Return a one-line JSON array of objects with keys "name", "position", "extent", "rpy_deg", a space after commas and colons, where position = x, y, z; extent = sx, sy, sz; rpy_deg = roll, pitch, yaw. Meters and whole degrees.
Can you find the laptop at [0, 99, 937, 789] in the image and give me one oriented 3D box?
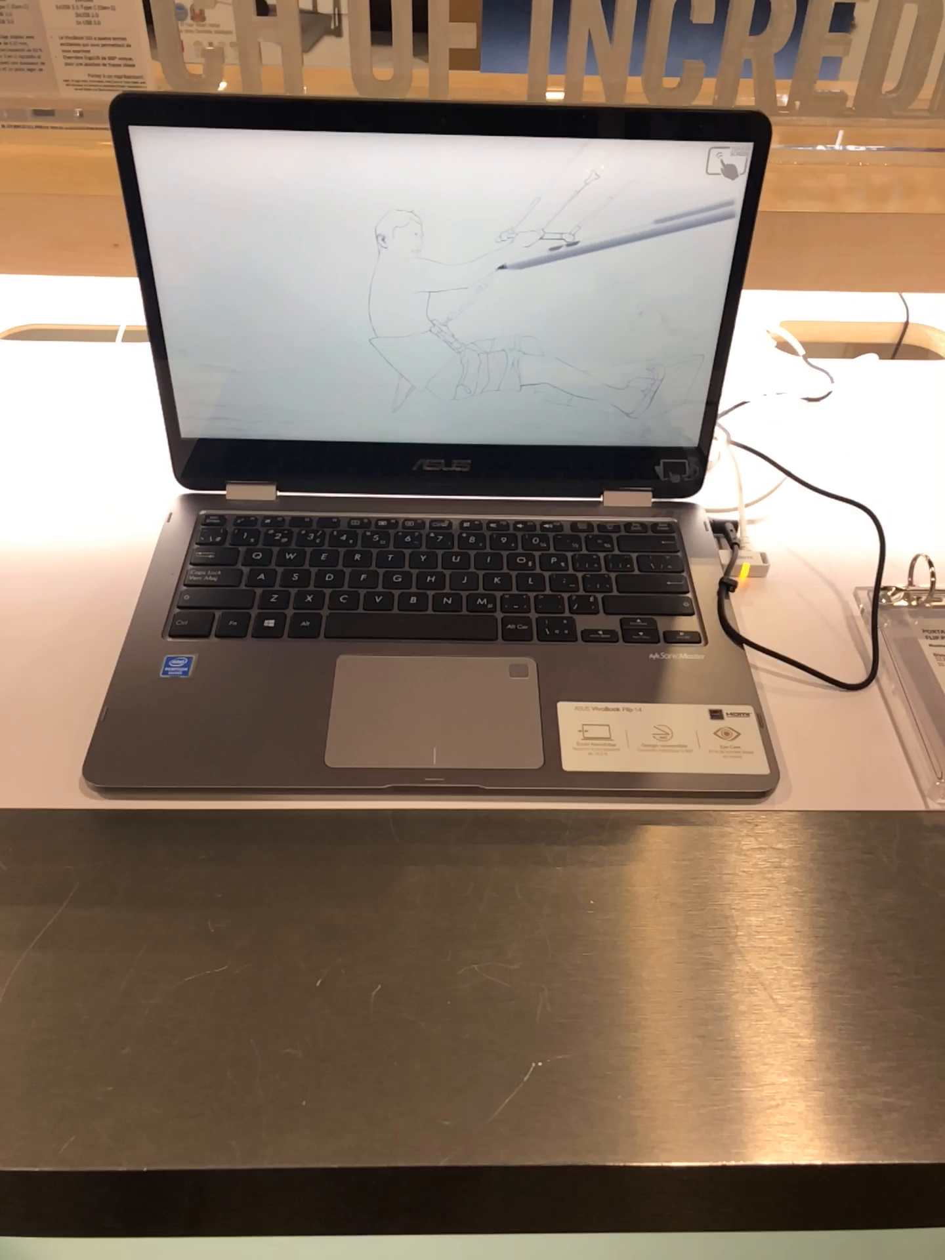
[{"name": "laptop", "position": [-0.015, -0.082, 0.458], "extent": [0.303, 0.211, 0.211], "rpy_deg": [1, 44, -1]}]
